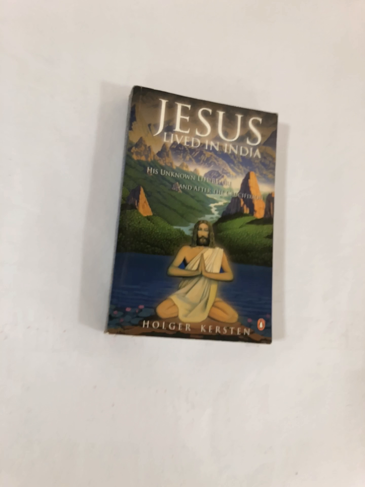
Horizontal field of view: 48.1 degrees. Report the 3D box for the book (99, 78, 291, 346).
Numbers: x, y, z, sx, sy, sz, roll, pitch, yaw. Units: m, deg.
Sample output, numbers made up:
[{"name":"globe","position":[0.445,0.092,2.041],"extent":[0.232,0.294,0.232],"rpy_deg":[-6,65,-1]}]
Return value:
[{"name":"book","position":[0.016,-0.025,0.353],"extent":[0.150,0.030,0.210],"rpy_deg":[7,78,-13]}]
